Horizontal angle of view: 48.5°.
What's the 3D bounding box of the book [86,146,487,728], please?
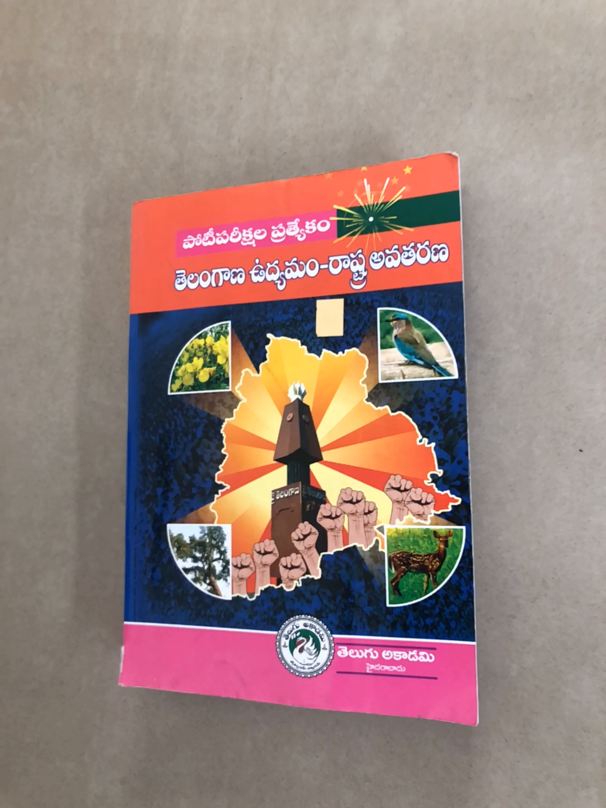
[{"bbox_3d":[-0.014,0.015,0.357,0.202,0.040,0.265,-3,83,19],"label":"book"}]
